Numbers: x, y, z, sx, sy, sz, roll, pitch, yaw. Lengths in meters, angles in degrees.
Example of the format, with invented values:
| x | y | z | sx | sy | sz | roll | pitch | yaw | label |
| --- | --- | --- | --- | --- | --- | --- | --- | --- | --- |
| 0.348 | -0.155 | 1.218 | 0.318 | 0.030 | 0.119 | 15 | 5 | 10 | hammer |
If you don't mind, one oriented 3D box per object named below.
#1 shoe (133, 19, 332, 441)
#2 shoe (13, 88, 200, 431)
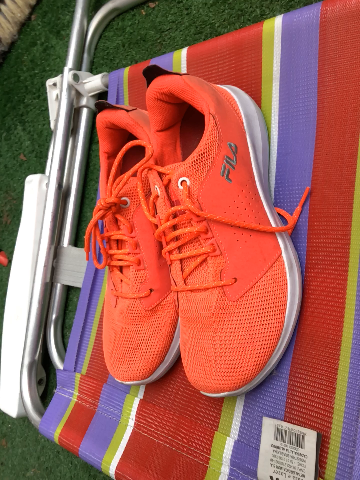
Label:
| x | y | z | sx | sy | sz | roll | pitch | yaw | label |
| --- | --- | --- | --- | --- | --- | --- | --- | --- | --- |
| 0.033 | -0.006 | 0.296 | 0.100 | 0.090 | 0.250 | -12 | 74 | 40 | shoe |
| -0.055 | 0.016 | 0.335 | 0.100 | 0.100 | 0.230 | -5 | 78 | 35 | shoe |
